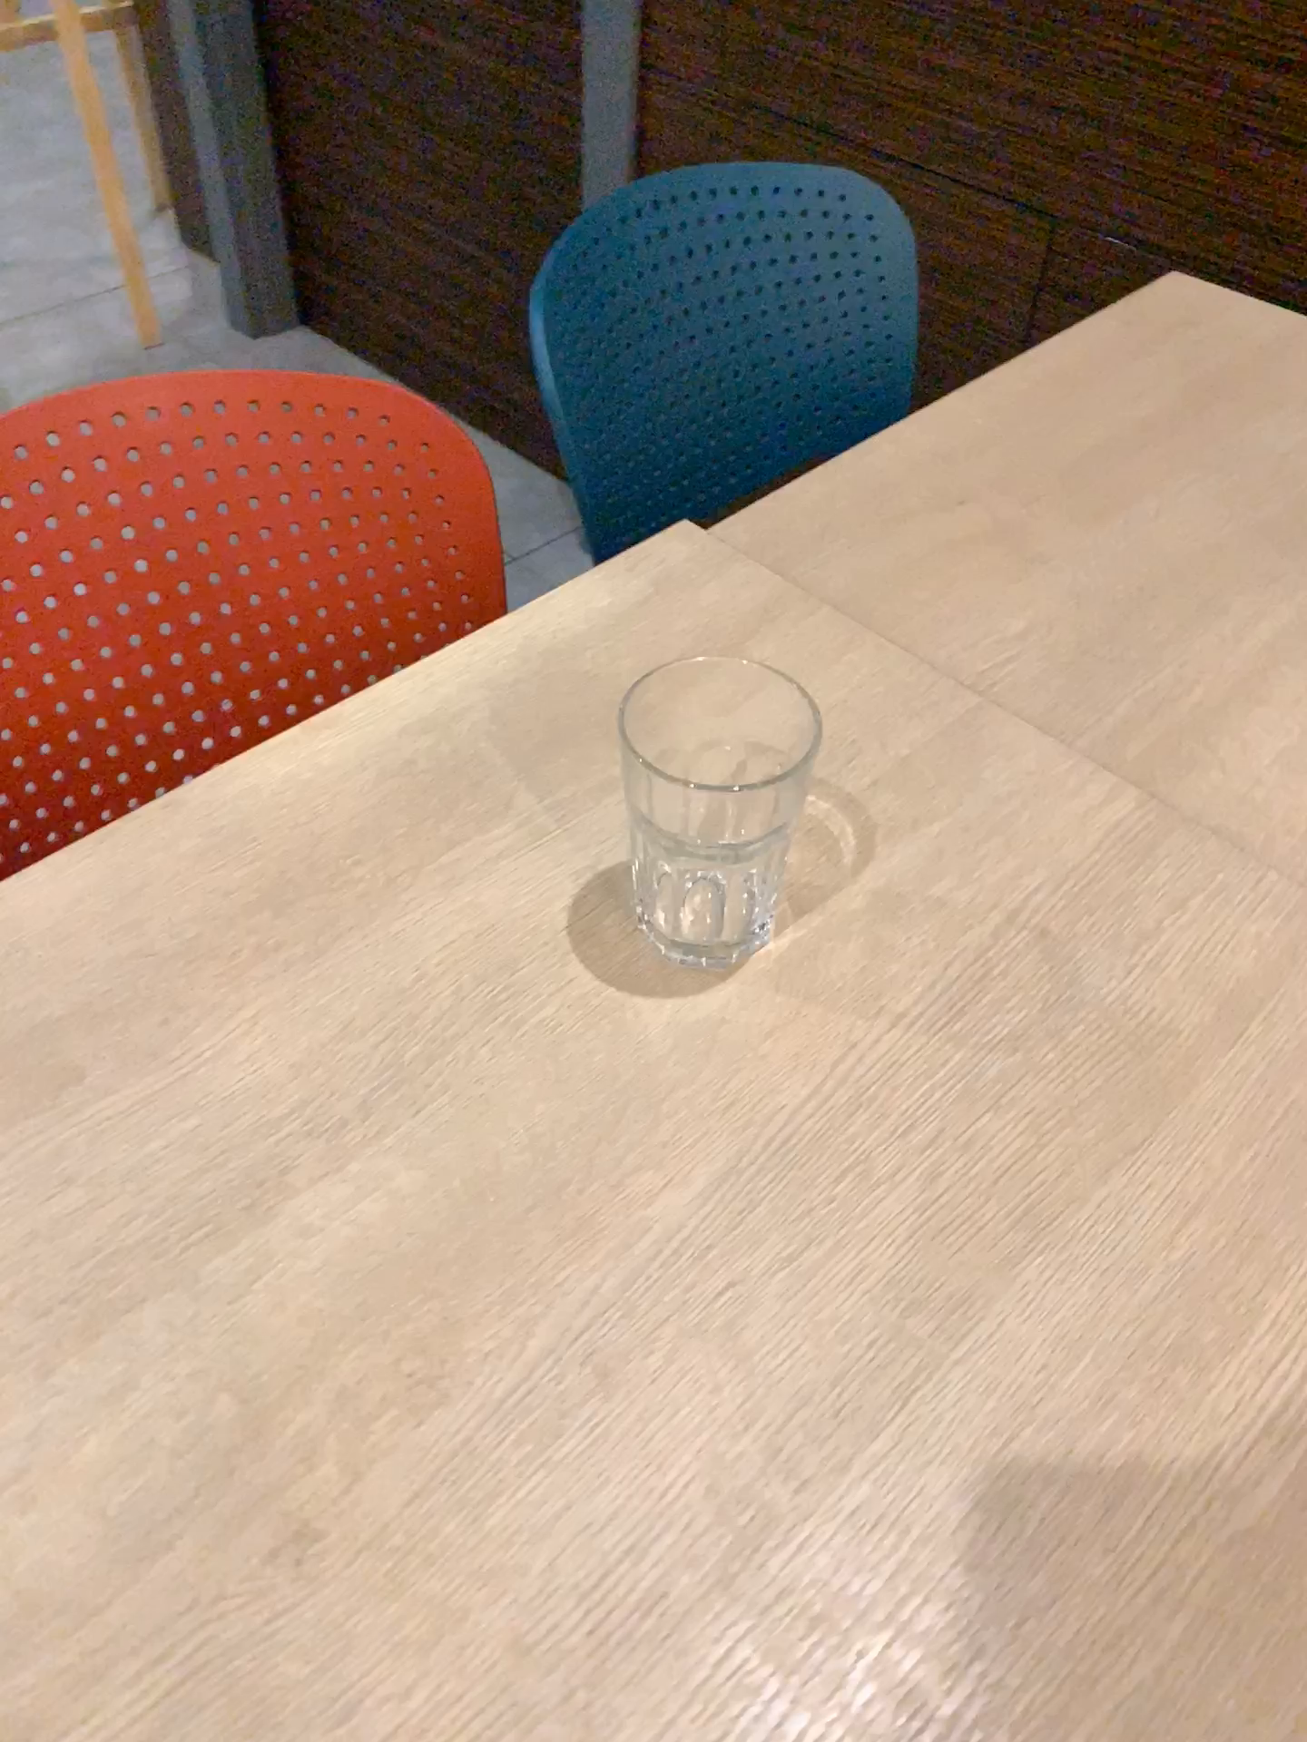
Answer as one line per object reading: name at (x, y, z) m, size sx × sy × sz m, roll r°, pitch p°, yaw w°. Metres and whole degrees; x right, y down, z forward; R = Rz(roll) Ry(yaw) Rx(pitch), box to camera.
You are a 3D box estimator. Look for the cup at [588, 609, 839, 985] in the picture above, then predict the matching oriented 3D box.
cup at (0.023, -0.029, 0.550) m, size 0.080 × 0.120 × 0.080 m, roll 2°, pitch 47°, yaw -2°
